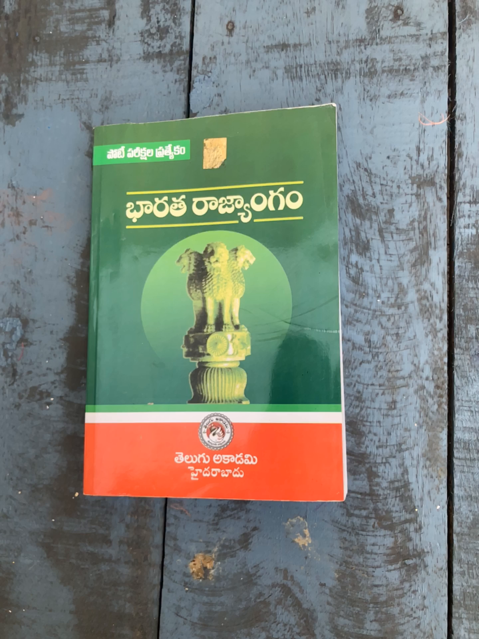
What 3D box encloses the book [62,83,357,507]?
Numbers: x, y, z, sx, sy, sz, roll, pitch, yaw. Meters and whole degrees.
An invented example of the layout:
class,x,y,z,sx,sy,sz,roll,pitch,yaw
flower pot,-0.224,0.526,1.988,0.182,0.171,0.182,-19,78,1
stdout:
class,x,y,z,sx,sy,sz,roll,pitch,yaw
book,-0.017,-0.014,0.318,0.160,0.040,0.230,-2,82,9
